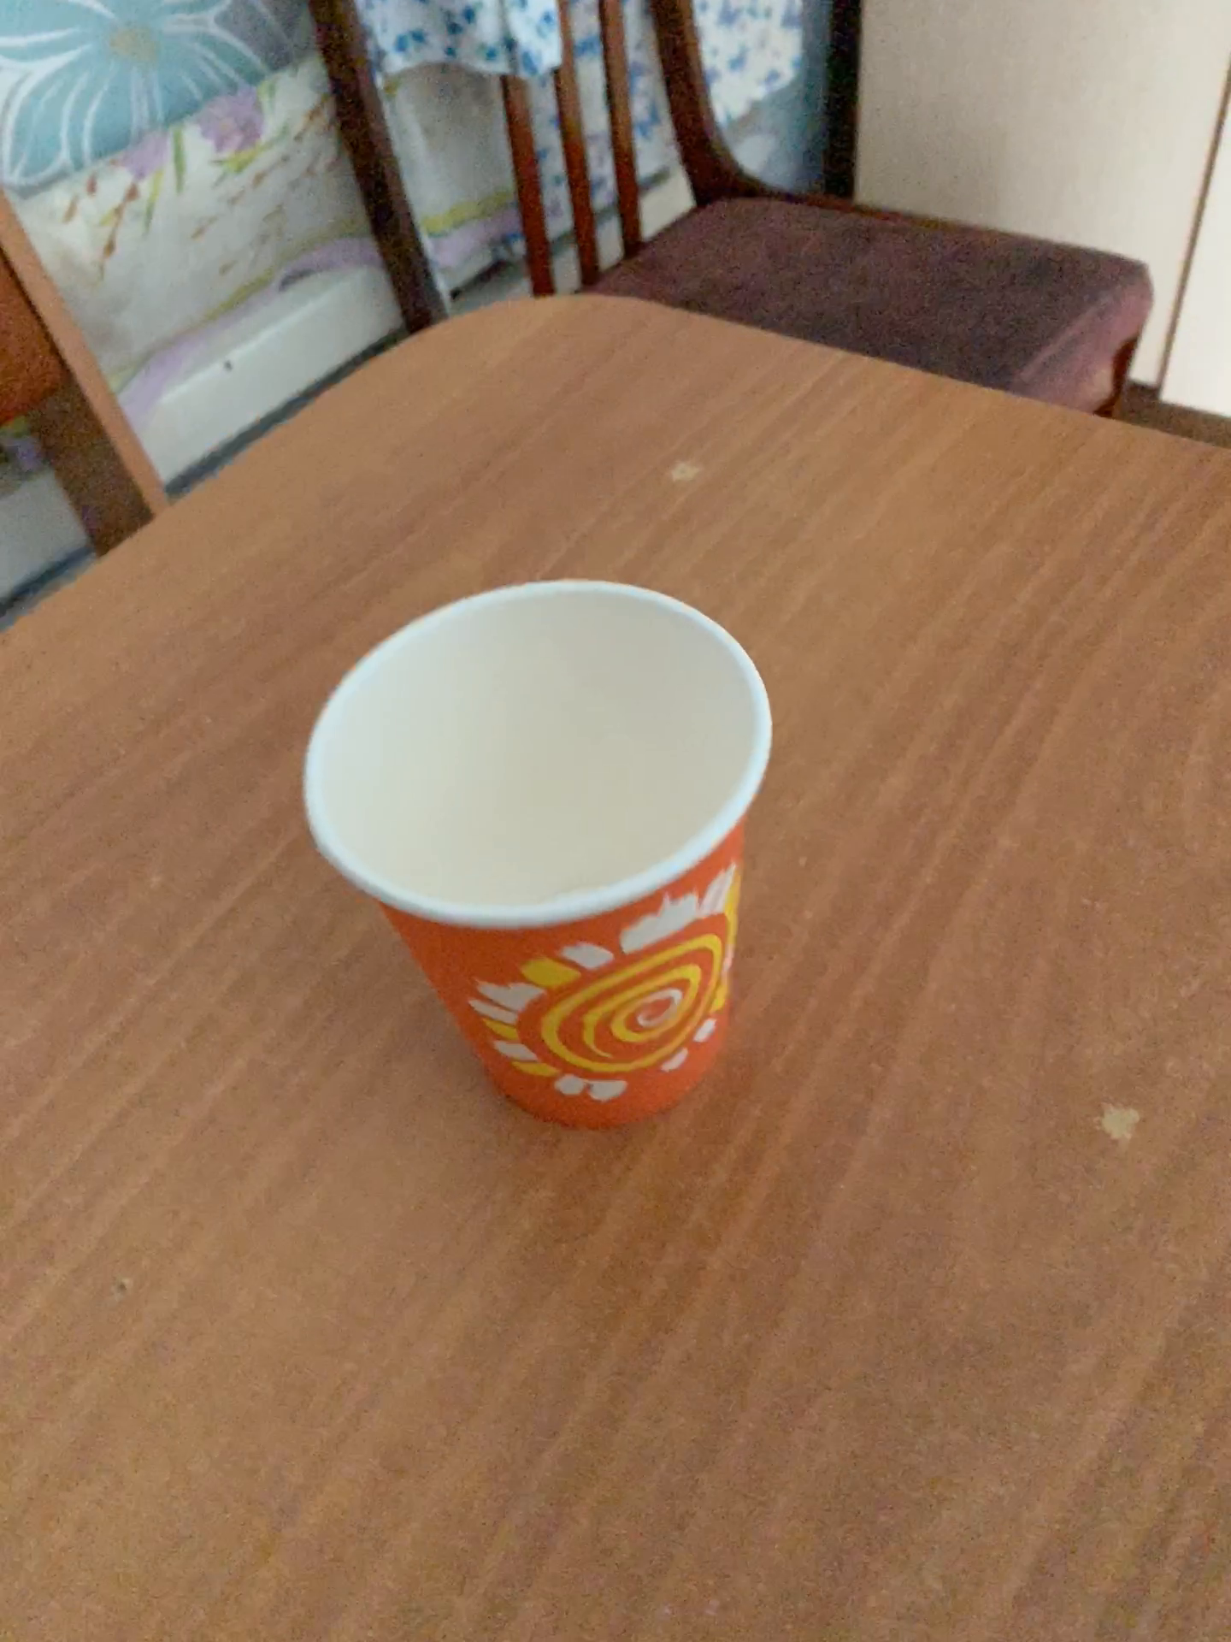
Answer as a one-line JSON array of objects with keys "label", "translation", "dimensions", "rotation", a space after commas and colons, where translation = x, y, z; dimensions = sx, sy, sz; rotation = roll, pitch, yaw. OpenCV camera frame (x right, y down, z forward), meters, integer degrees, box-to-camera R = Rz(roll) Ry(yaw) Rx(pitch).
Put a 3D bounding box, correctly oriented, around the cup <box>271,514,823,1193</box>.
[{"label": "cup", "translation": [-0.010, 0.008, 0.254], "dimensions": [0.084, 0.087, 0.089], "rotation": [-4, 50, 5]}]
